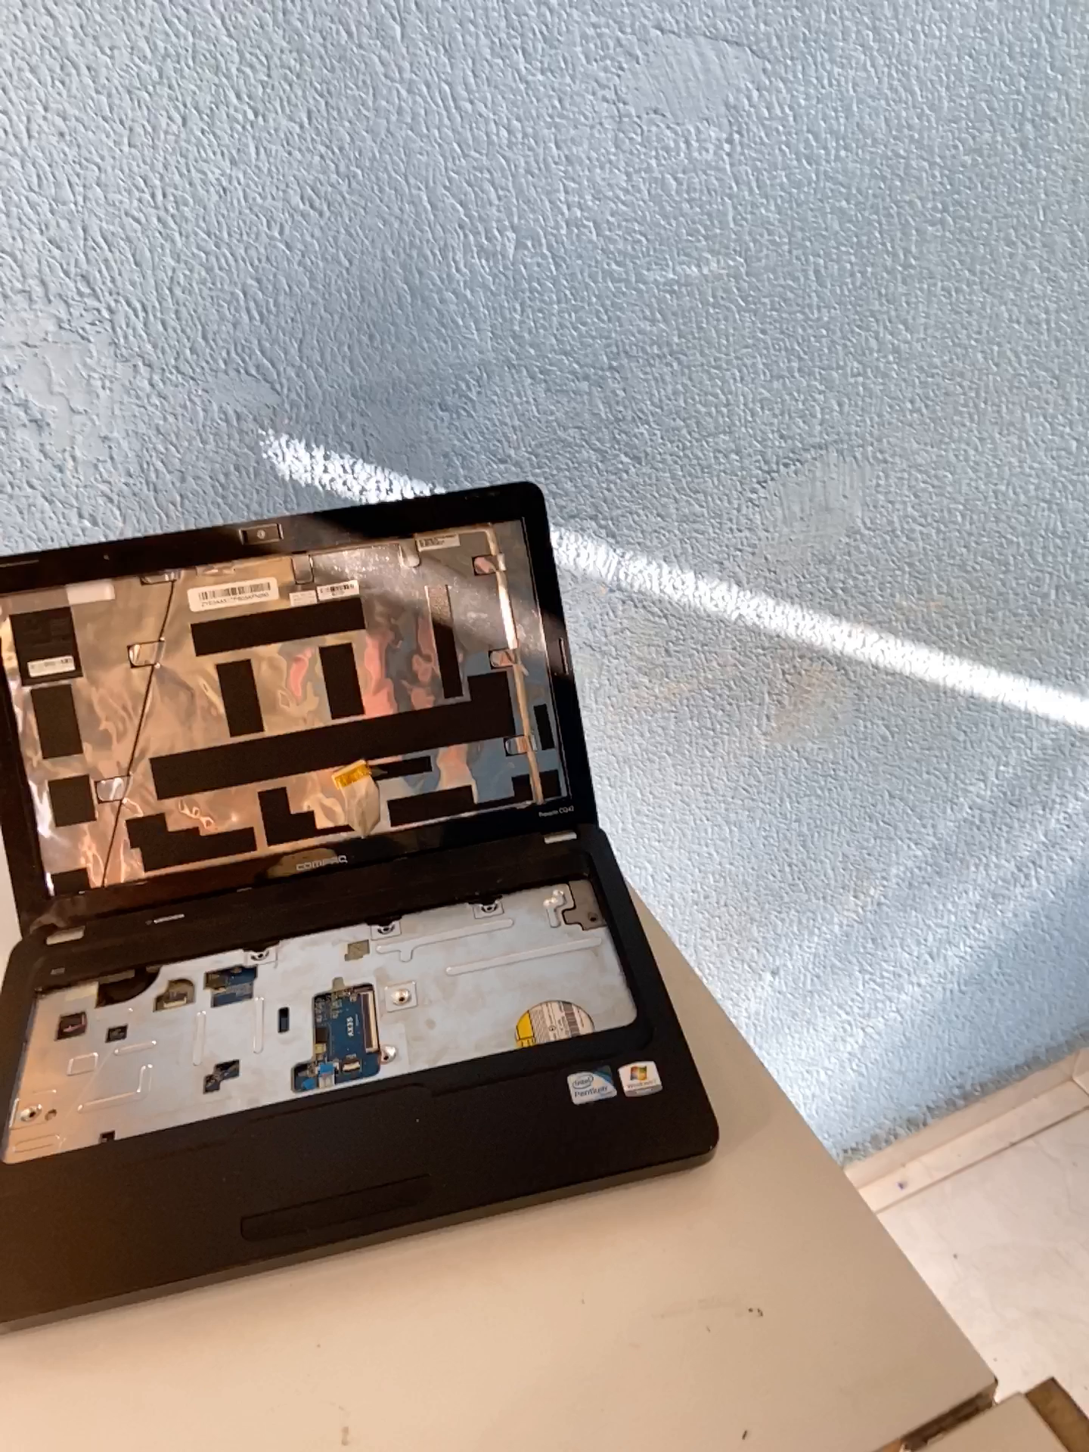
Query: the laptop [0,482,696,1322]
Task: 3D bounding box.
[{"bbox_3d":[-0.131,0.049,0.573,0.331,0.182,0.337,-10,34,-7],"label":"laptop"}]
